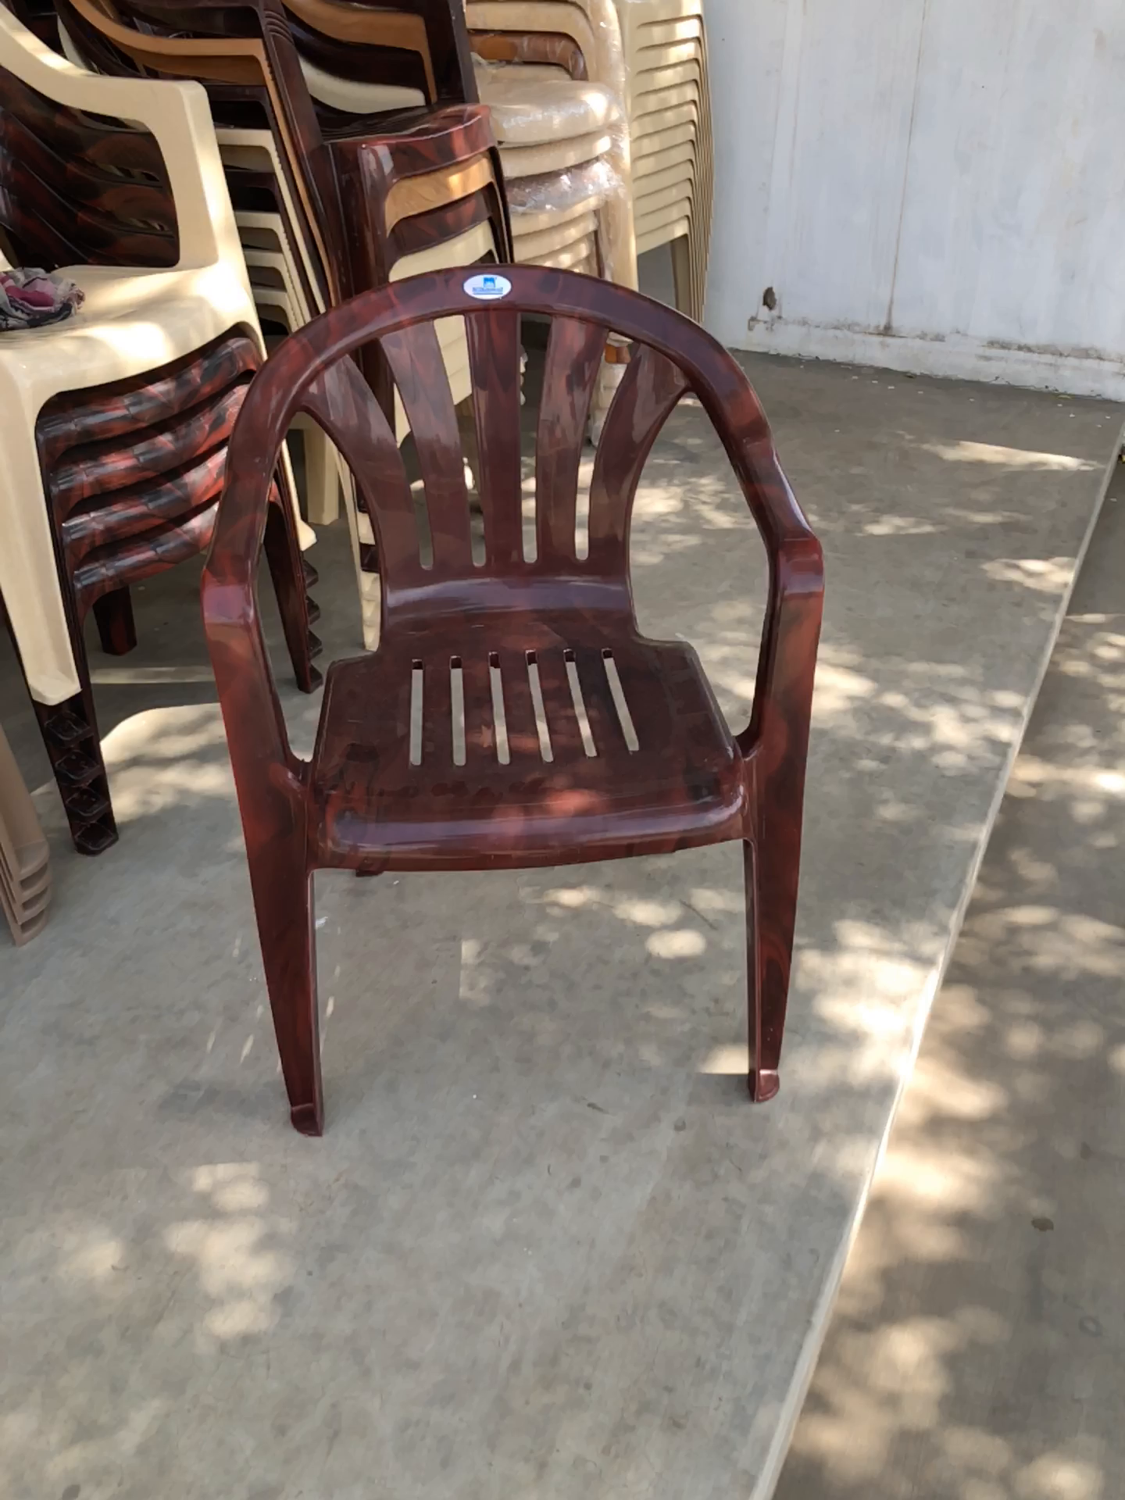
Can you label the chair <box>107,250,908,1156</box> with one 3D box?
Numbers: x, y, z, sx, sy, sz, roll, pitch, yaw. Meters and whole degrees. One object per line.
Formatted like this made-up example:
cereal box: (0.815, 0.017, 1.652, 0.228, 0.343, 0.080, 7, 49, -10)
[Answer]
chair: (-0.051, -0.059, 1.321, 0.580, 0.766, 0.523, -4, 34, -4)
